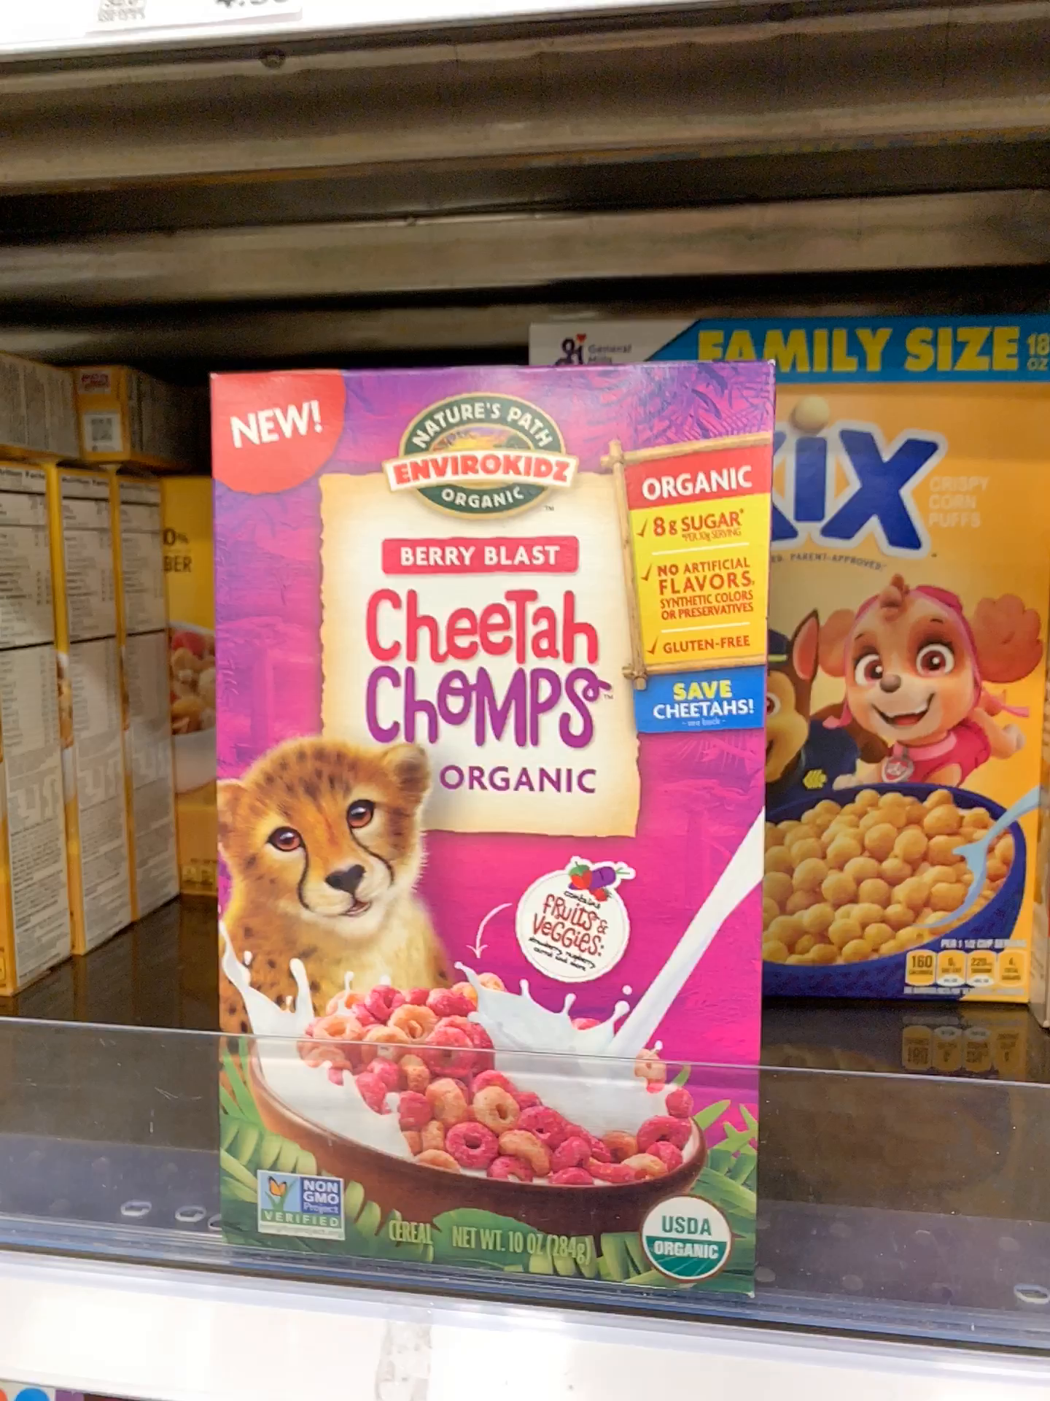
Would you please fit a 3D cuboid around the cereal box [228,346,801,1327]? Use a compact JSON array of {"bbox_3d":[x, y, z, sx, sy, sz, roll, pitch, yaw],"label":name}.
[{"bbox_3d":[-0.003,0.037,0.339,0.160,0.270,0.060,1,4,9],"label":"cereal box"}]
